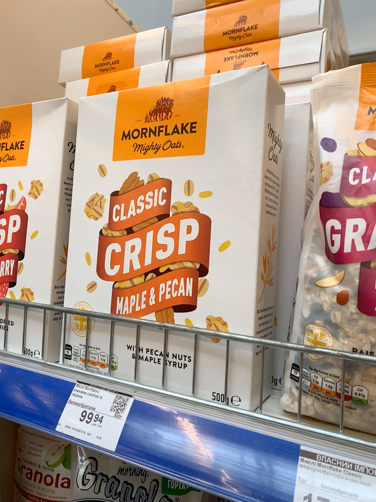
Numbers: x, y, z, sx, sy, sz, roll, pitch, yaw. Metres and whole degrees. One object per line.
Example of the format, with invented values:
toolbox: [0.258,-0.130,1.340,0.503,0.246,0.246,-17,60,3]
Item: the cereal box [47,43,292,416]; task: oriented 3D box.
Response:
cereal box: [-0.020,-0.020,0.331,0.190,0.250,0.060,3,-2,28]
